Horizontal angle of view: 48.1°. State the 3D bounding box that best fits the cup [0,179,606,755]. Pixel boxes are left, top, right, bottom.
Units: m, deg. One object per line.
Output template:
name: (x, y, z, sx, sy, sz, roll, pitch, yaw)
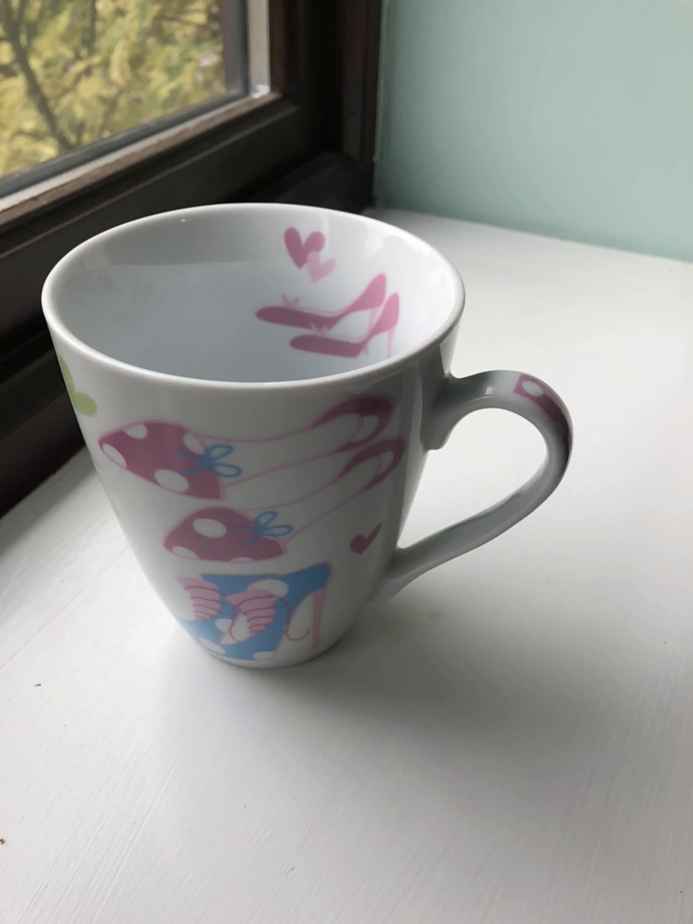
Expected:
cup: (-0.010, -0.010, 0.218, 0.140, 0.089, 0.111, 11, 37, 12)
